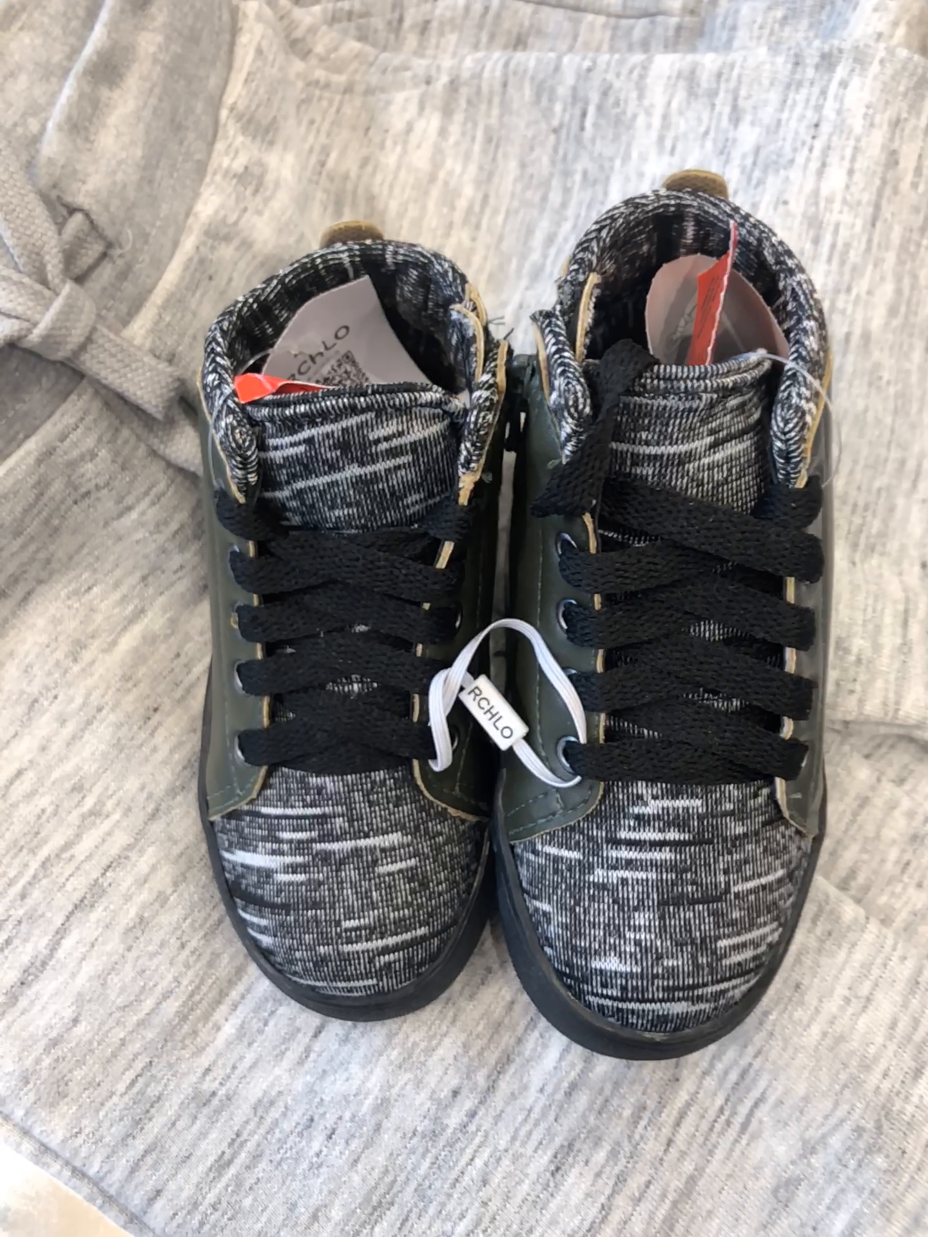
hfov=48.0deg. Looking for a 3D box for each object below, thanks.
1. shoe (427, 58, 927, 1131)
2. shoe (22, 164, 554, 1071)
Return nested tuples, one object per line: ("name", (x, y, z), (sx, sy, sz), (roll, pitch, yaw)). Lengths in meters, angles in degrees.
("shoe", (0.037, -0.003, 0.203), (0.080, 0.090, 0.170), (-2, 74, 2))
("shoe", (-0.023, 0.002, 0.222), (0.080, 0.090, 0.160), (1, 74, 3))
